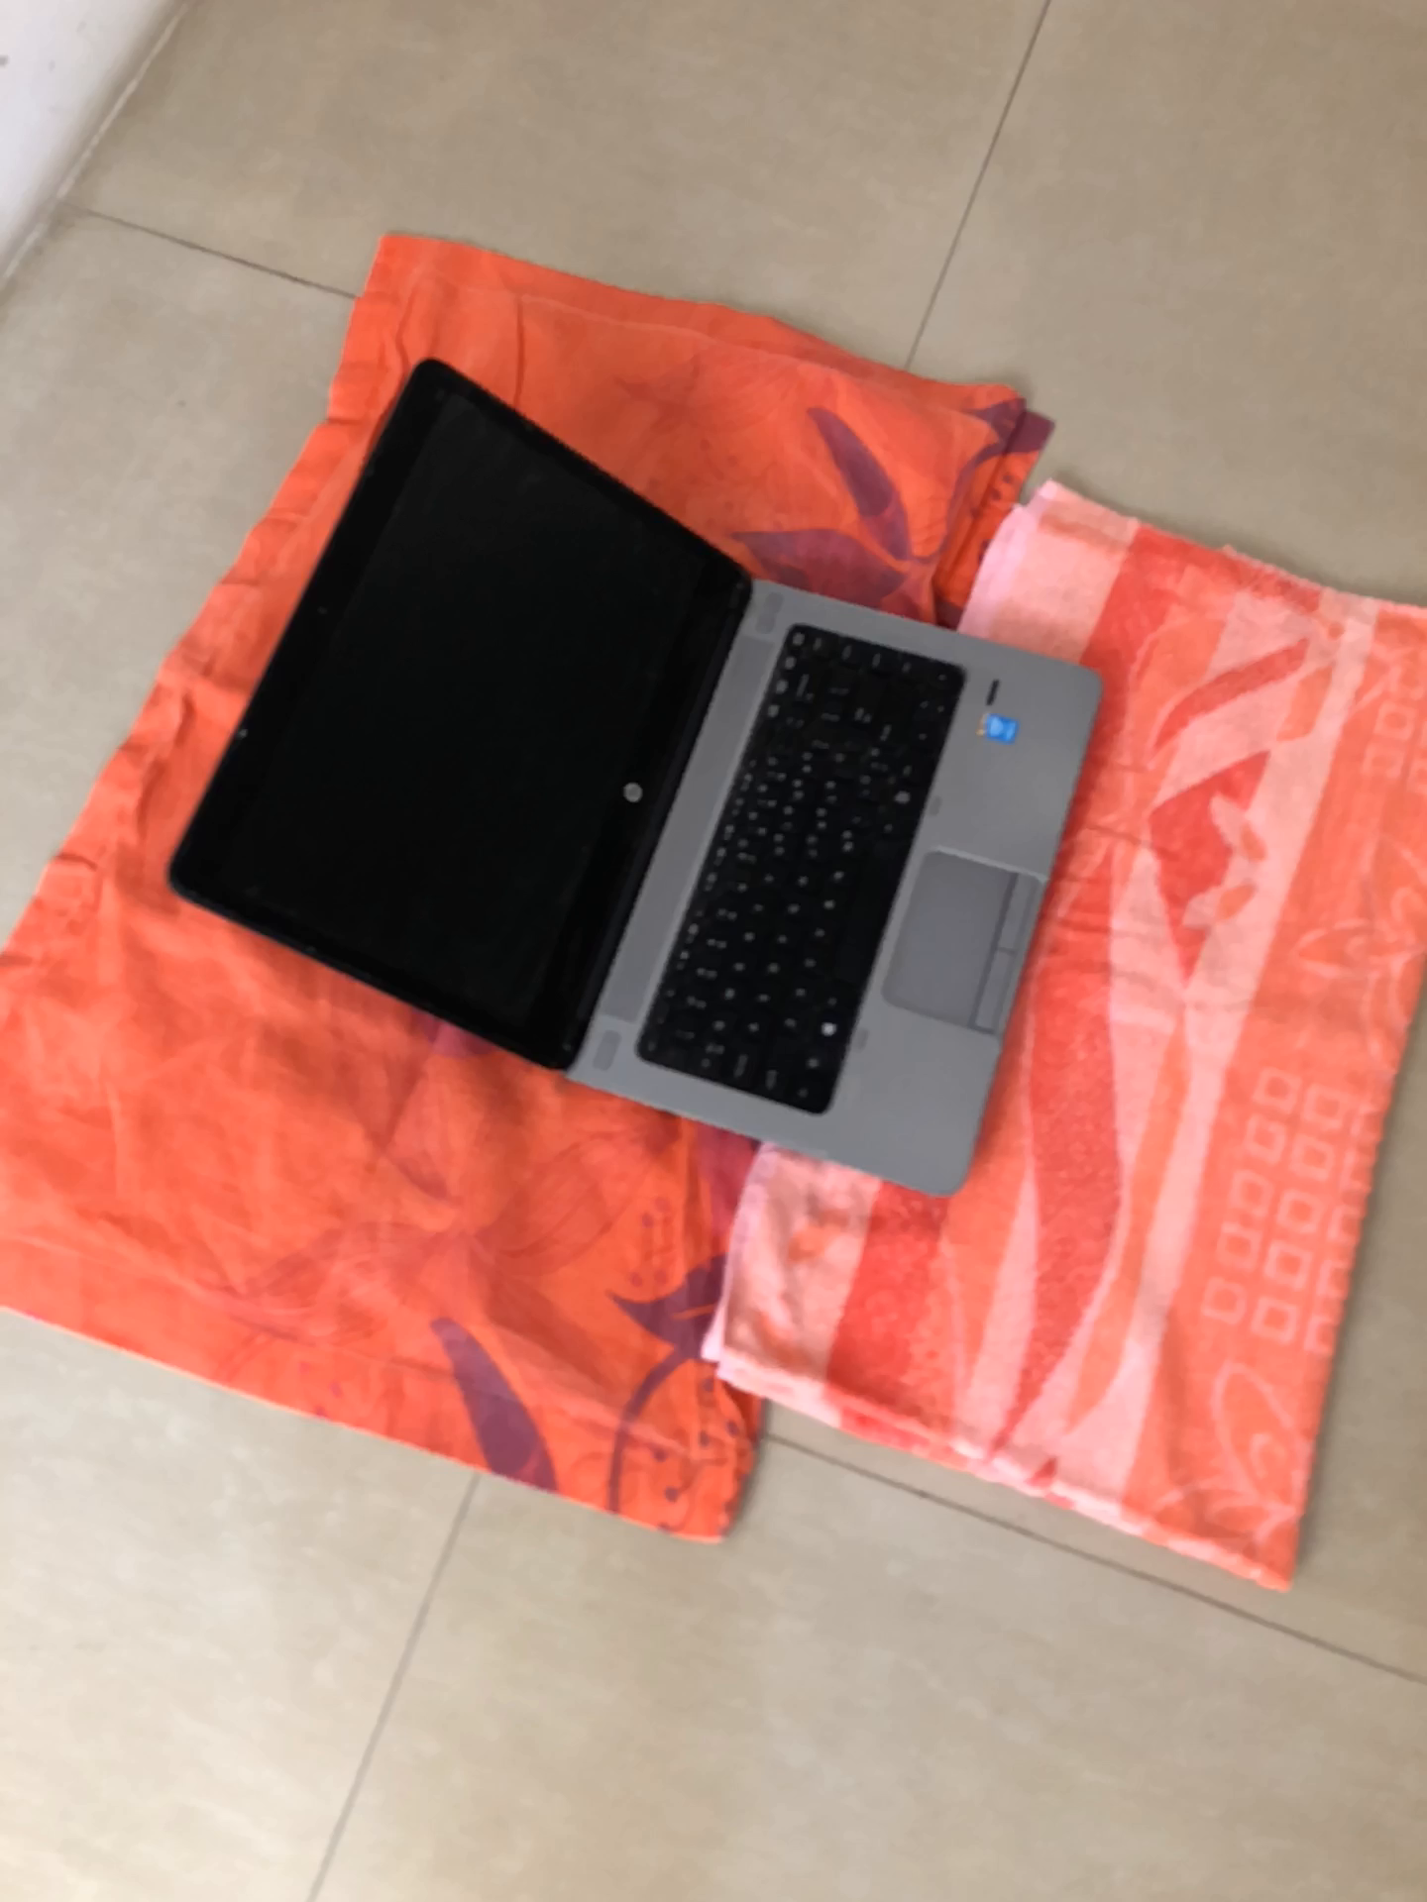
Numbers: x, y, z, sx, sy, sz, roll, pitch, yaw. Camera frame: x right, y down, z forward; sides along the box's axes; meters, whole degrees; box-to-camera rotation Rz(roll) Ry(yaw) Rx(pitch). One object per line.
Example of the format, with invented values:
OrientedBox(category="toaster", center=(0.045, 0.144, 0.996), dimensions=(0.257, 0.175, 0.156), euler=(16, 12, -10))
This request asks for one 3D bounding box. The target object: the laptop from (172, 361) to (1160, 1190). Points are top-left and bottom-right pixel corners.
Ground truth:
OrientedBox(category="laptop", center=(-0.015, -0.101, 0.830), dimensions=(0.410, 0.111, 0.329), euler=(17, 70, 7))
